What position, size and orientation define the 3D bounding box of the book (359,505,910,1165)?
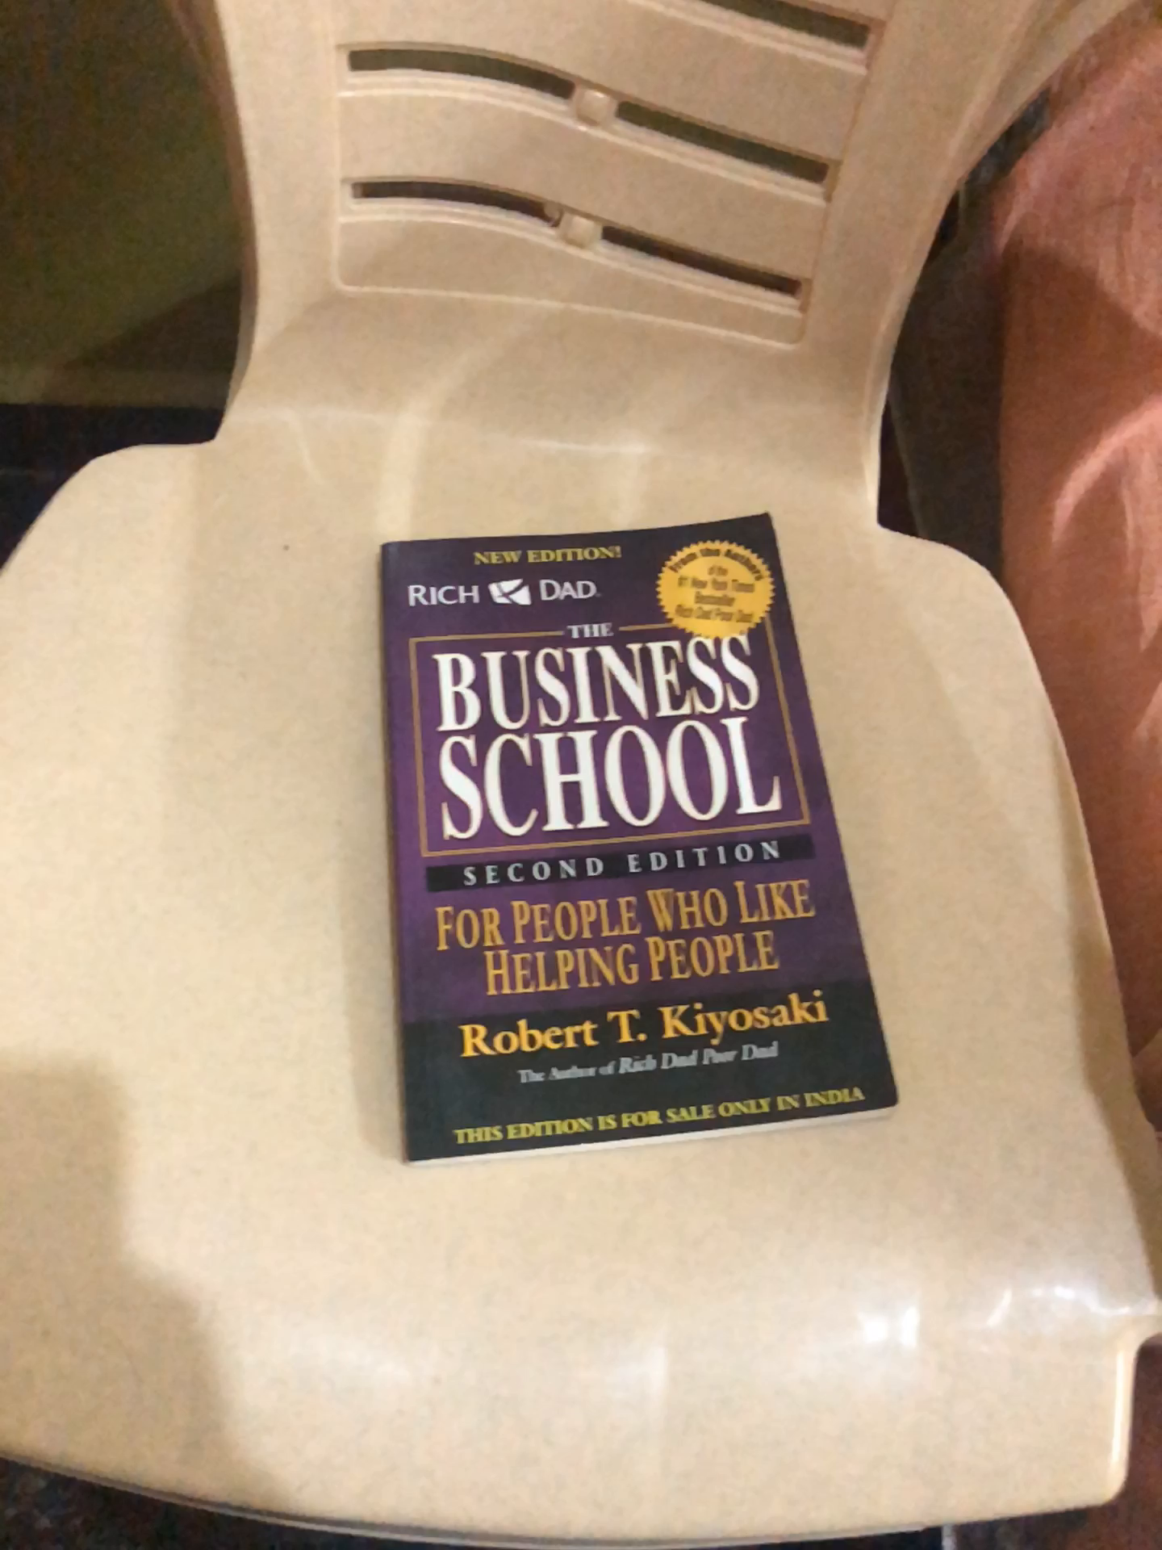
[{"bbox_3d":[0.012,0.012,0.468,0.170,0.020,0.230,-5,71,-6],"label":"book"}]
